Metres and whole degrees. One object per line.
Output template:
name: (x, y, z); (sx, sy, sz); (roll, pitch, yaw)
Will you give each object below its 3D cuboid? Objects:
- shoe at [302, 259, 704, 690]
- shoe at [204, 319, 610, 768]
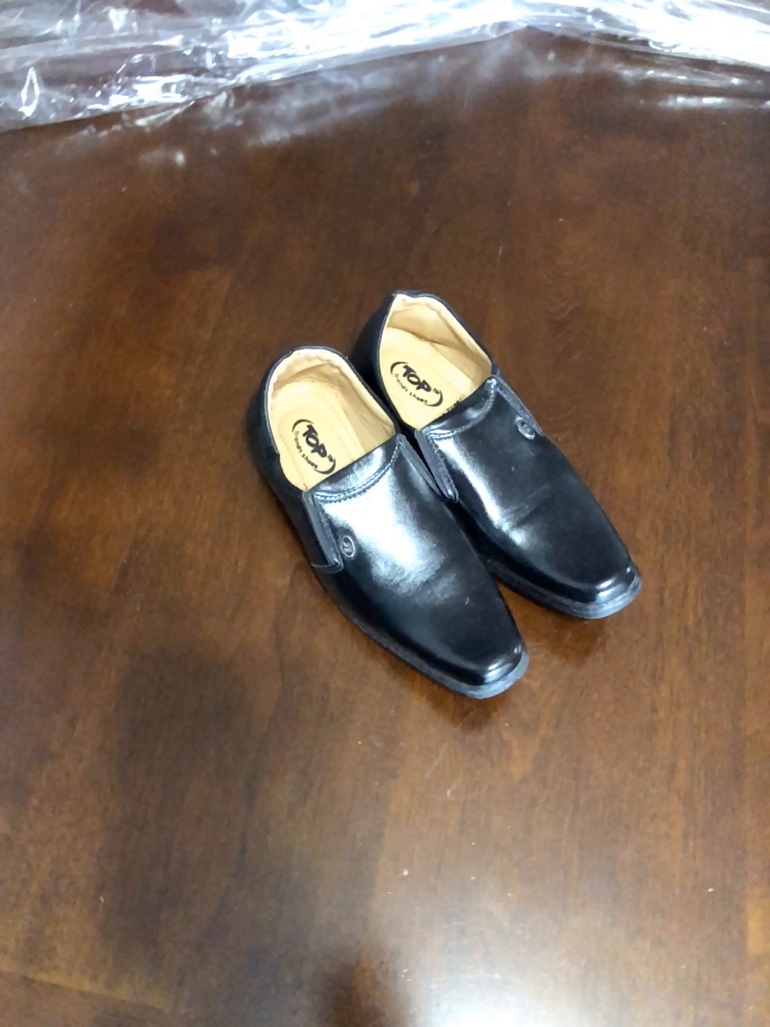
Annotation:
shoe: (0.056, -0.027, 0.499); (0.090, 0.090, 0.230); (-33, 67, -16)
shoe: (0.004, 0.011, 0.475); (0.090, 0.080, 0.230); (-33, 67, -16)
